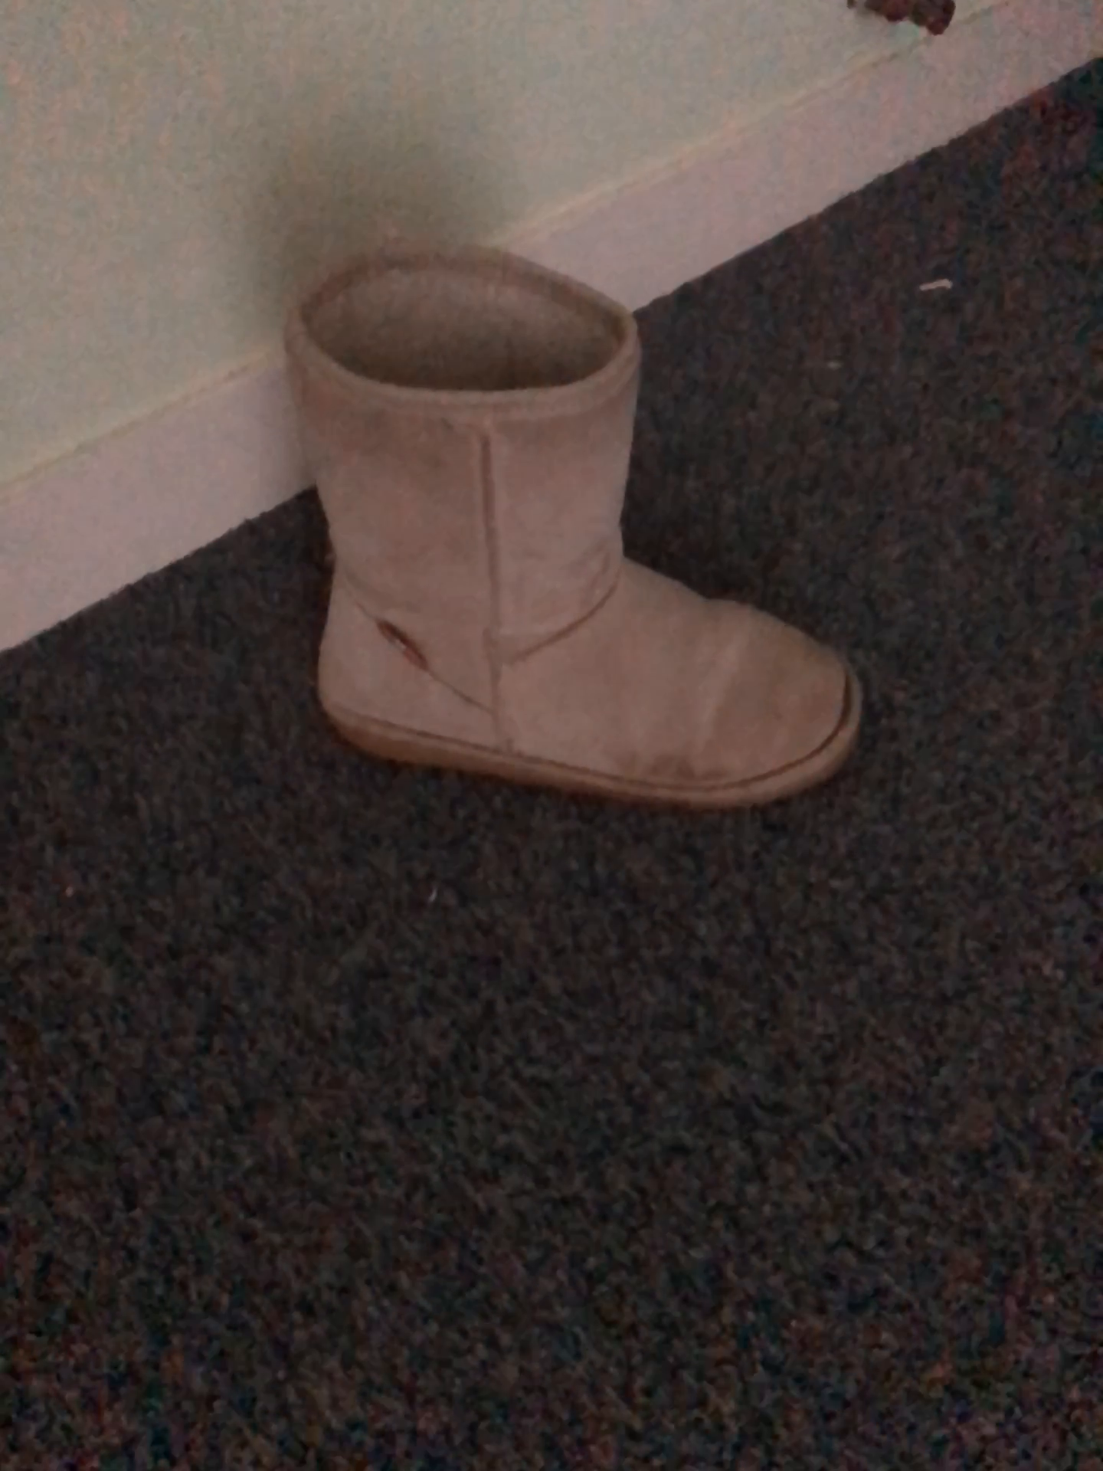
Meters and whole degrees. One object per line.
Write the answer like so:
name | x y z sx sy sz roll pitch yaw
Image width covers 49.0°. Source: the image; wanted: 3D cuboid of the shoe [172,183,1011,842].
shoe | 0.018 -0.084 0.503 0.270 0.209 0.121 9 53 5
